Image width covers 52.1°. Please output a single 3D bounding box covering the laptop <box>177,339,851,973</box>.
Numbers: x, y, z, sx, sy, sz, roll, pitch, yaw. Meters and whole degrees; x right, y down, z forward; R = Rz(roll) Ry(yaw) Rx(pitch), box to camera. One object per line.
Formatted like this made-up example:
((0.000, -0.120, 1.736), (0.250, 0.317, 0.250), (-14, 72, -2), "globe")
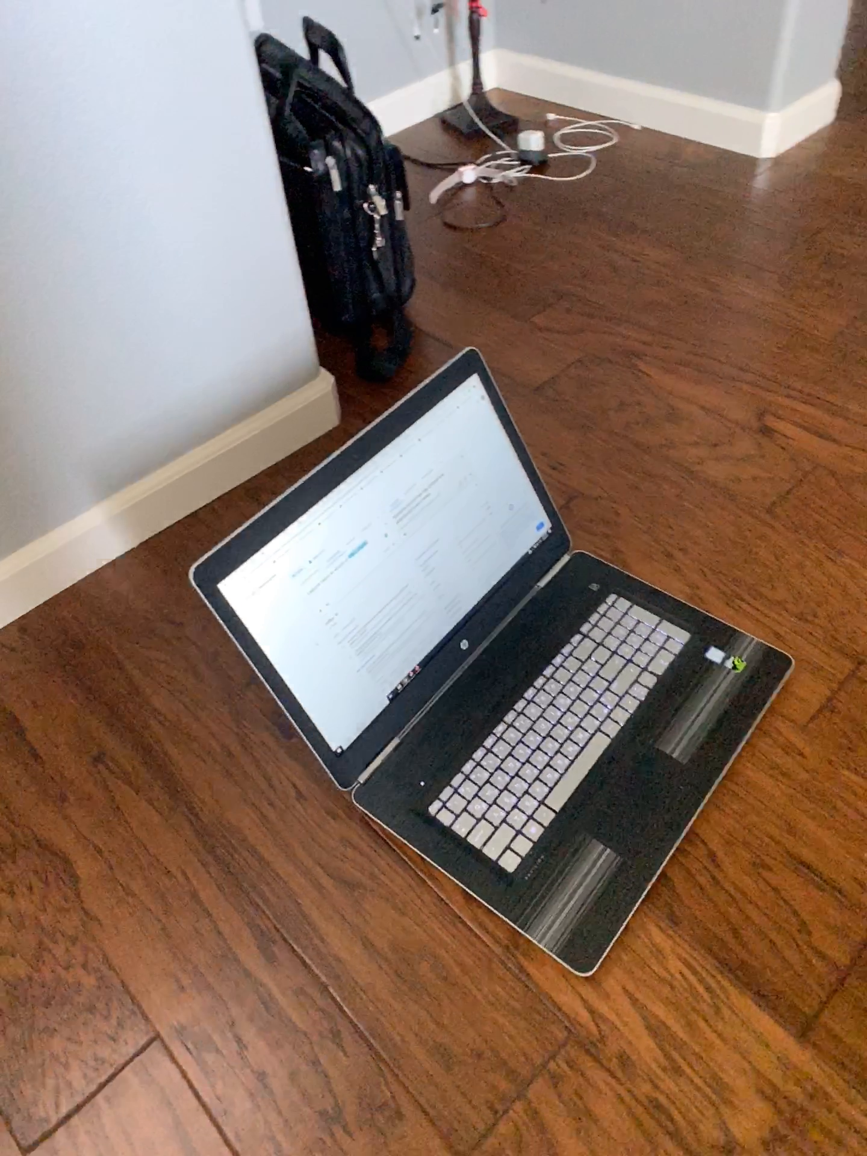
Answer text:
((0.082, 0.036, 0.857), (0.423, 0.233, 0.412), (29, 56, 26), "laptop")
